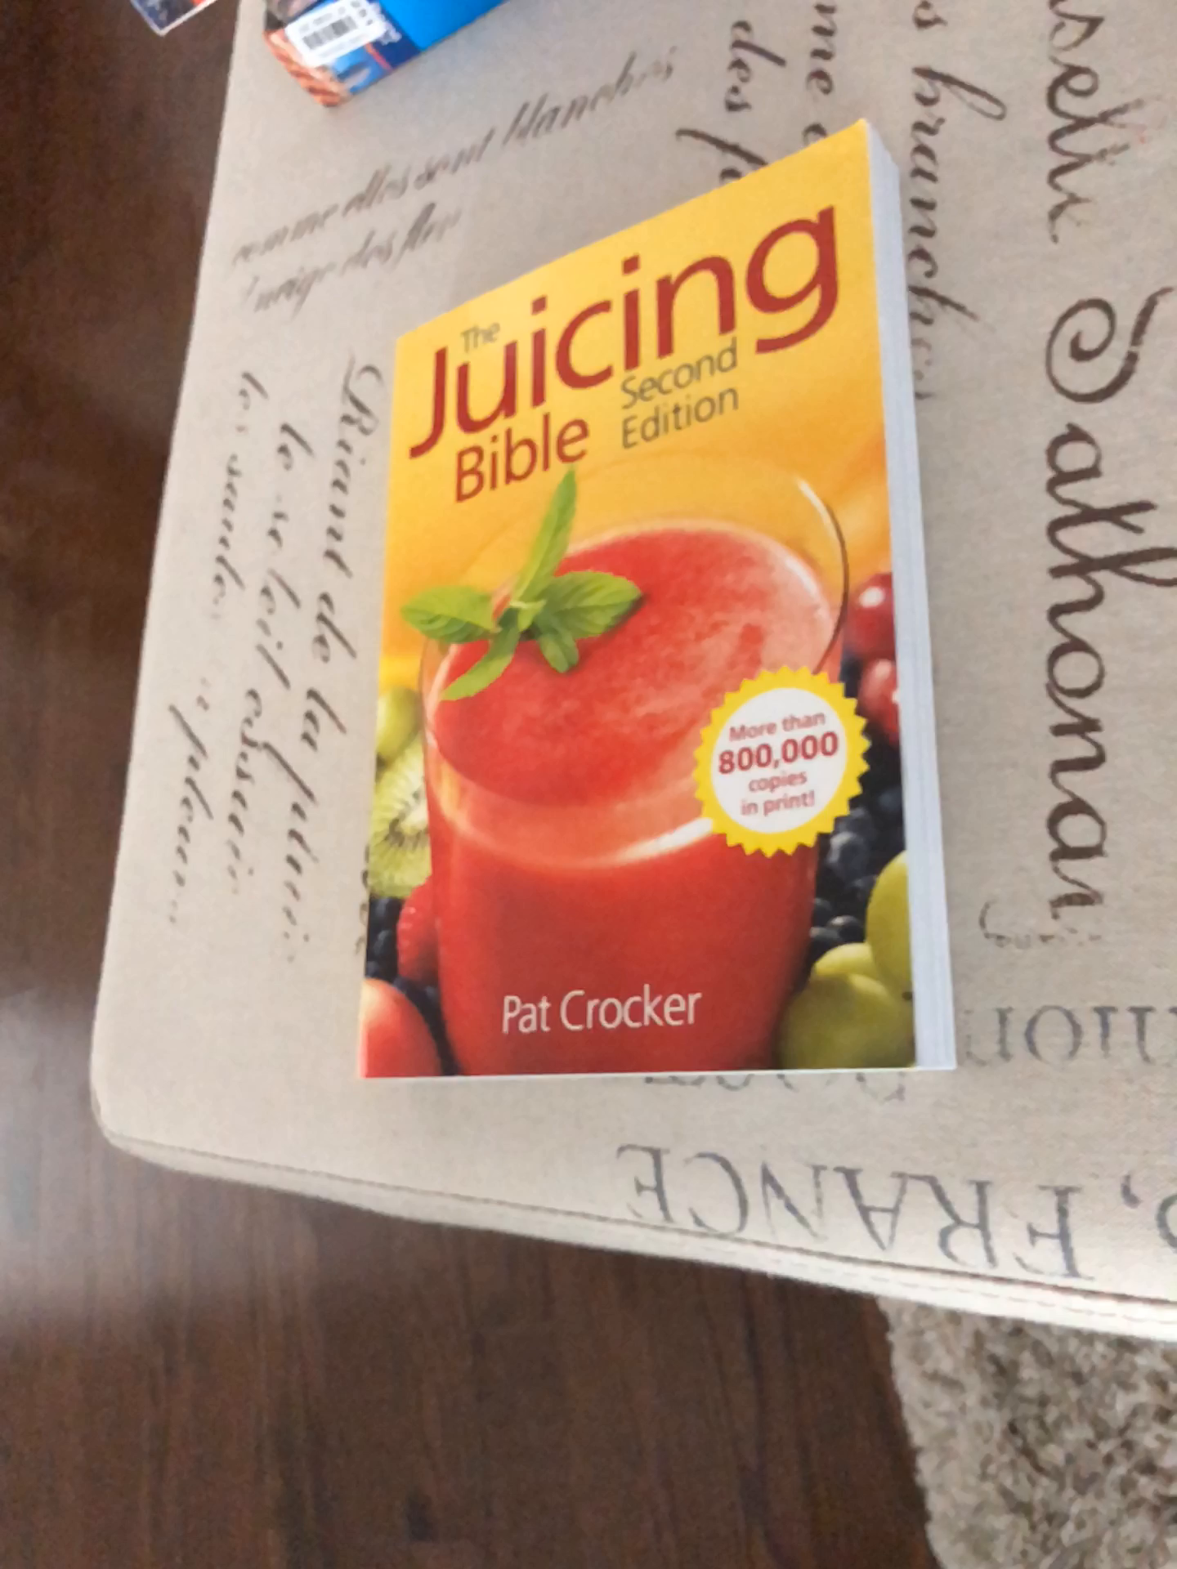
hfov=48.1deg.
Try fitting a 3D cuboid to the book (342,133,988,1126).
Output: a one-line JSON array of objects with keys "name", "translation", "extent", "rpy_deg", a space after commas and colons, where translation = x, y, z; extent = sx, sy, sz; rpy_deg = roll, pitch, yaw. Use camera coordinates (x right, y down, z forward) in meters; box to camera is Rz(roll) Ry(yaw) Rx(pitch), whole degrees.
[{"name": "book", "translation": [0.010, -0.033, 0.375], "extent": [0.181, 0.030, 0.250], "rpy_deg": [-11, 71, 35]}]
